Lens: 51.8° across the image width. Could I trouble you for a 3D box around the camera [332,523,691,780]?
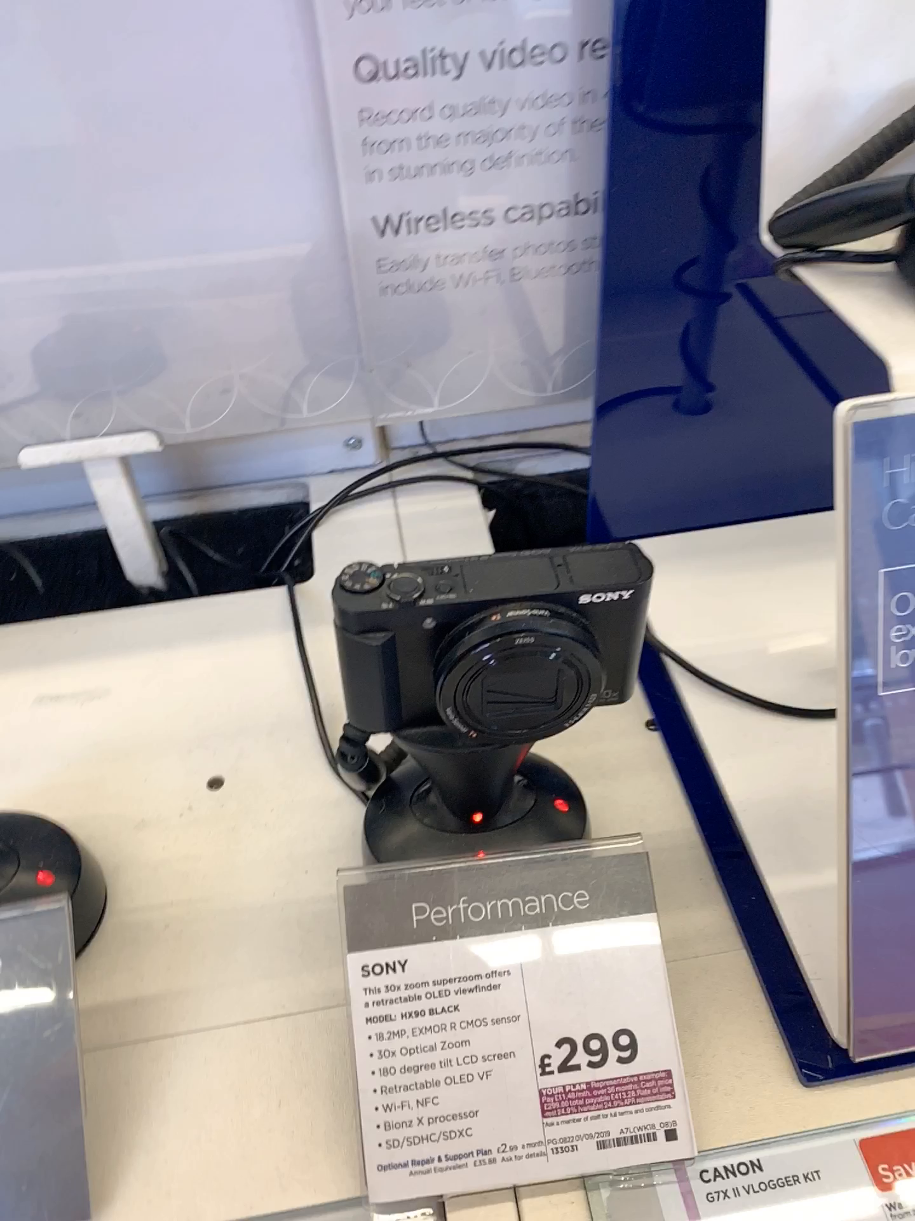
[{"bbox_3d":[0.014,0.013,0.297,0.100,0.059,0.040,-6,44,-5],"label":"camera"}]
